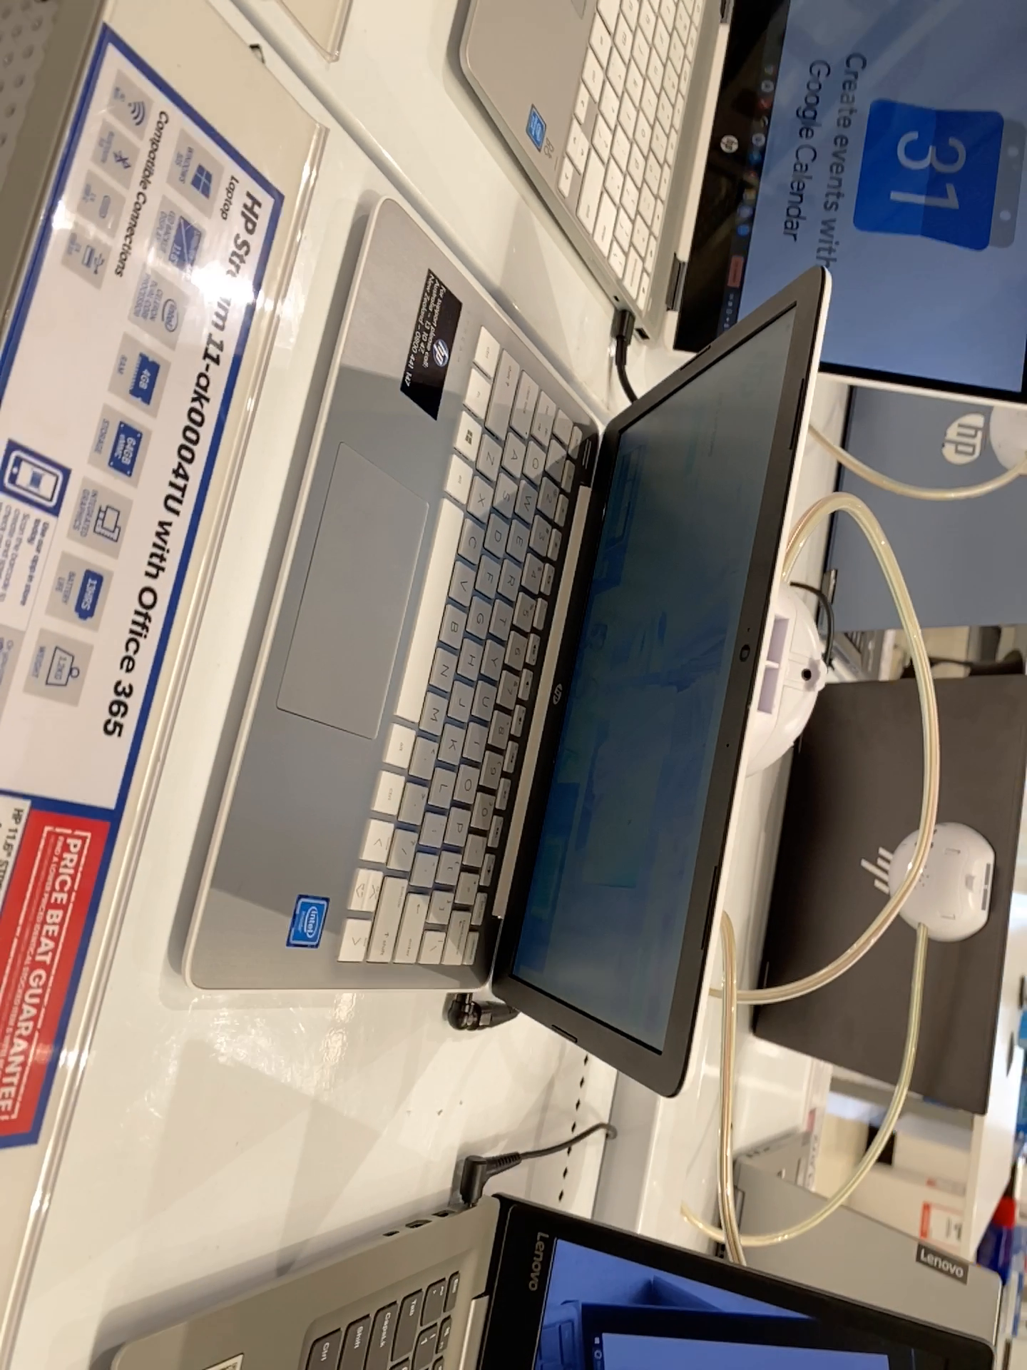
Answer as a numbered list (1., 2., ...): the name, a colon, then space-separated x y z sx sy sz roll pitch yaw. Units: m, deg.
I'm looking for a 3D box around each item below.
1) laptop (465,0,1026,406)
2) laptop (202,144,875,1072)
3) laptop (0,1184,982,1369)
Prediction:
1. laptop: 0.156 -0.326 0.509 0.299 0.189 0.257 27 71 -59
2. laptop: 0.031 -0.018 0.408 0.182 0.138 0.276 28 71 -57
3. laptop: 0.014 0.396 0.362 0.277 0.211 0.326 25 73 -58
